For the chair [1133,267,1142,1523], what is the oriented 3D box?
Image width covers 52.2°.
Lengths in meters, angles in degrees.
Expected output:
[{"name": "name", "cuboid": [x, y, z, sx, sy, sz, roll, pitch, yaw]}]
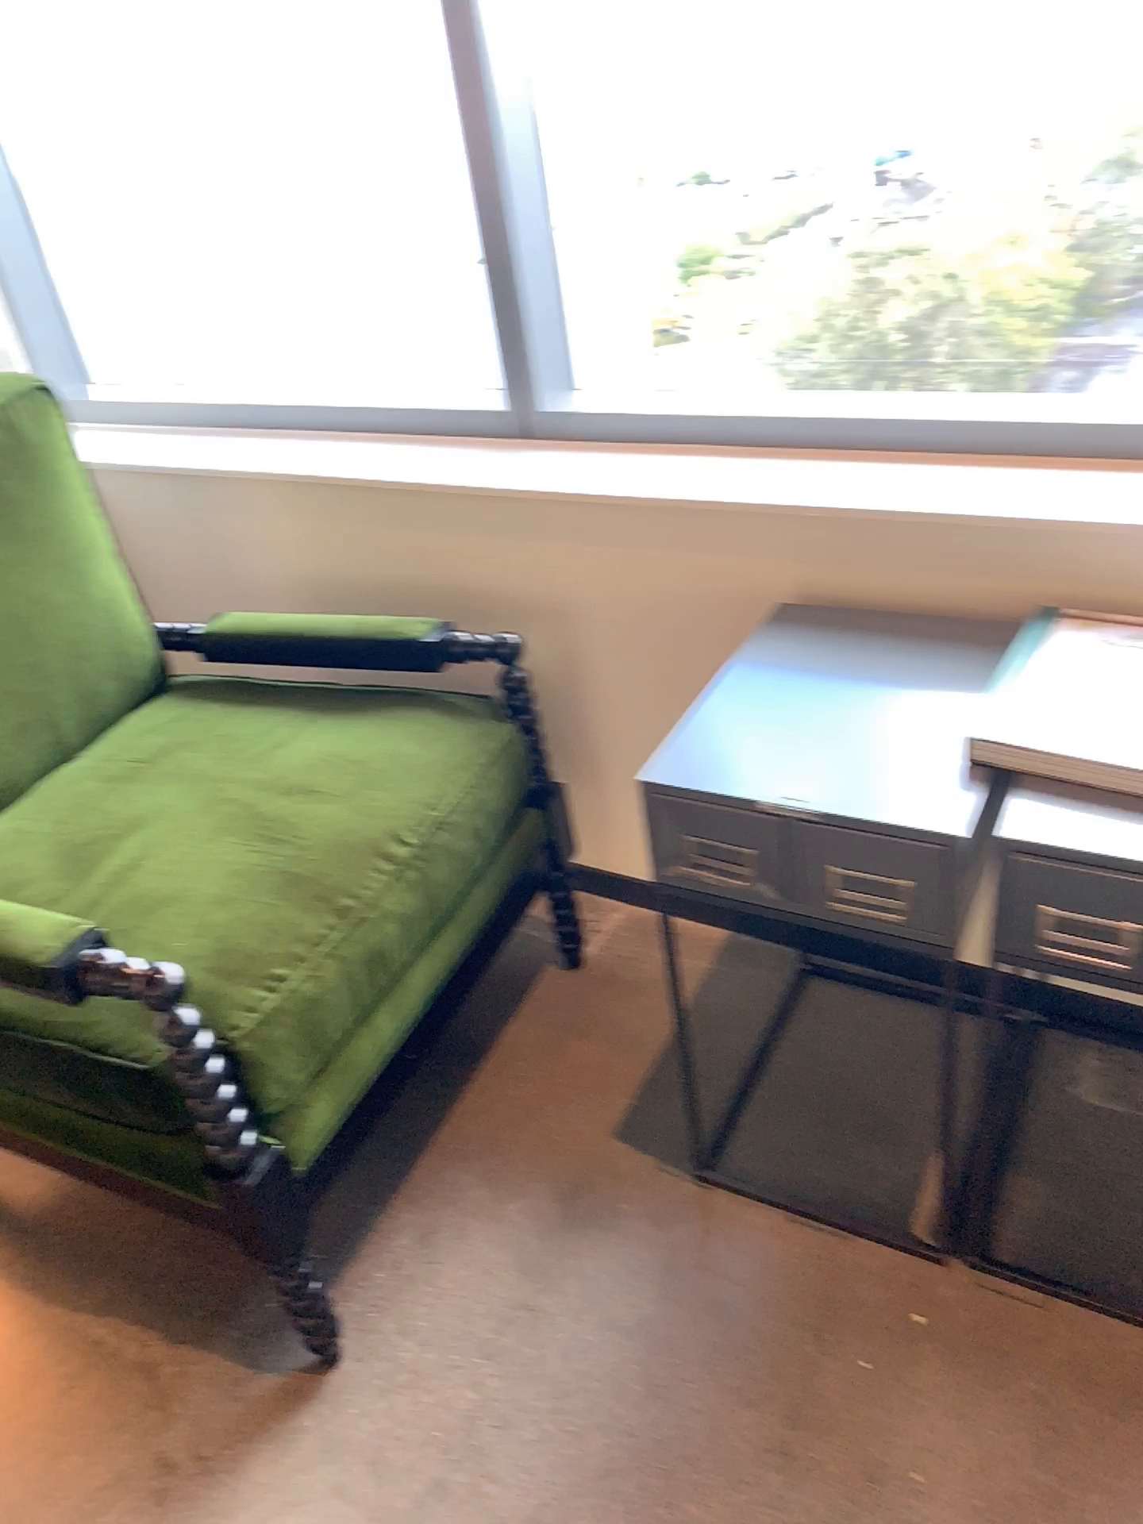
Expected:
[{"name": "chair", "cuboid": [1.030, 0.357, 0.695, 0.921, 0.983, 0.765, -24, 35, -23]}]

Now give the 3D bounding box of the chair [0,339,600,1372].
[{"name": "chair", "cuboid": [-0.586, 0.049, 1.565, 0.922, 0.973, 0.733, 7, 35, 25]}]
